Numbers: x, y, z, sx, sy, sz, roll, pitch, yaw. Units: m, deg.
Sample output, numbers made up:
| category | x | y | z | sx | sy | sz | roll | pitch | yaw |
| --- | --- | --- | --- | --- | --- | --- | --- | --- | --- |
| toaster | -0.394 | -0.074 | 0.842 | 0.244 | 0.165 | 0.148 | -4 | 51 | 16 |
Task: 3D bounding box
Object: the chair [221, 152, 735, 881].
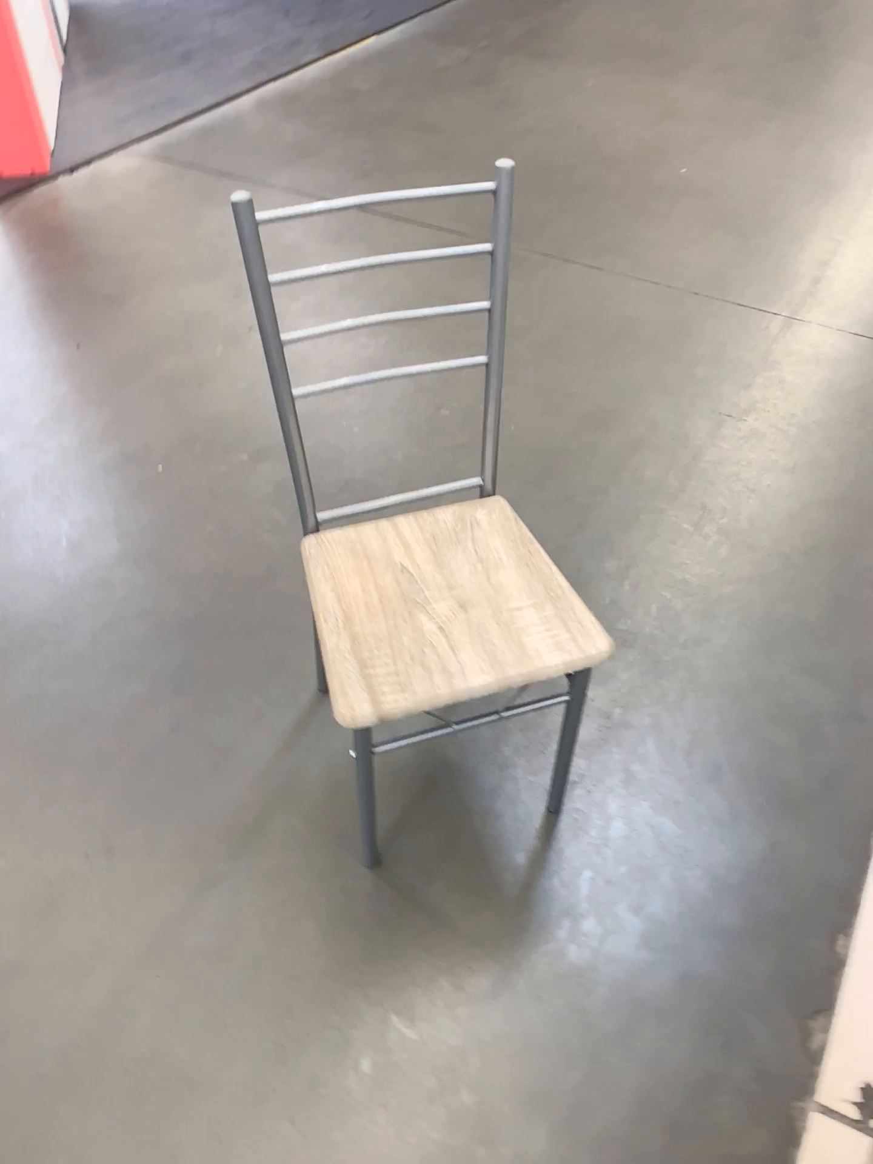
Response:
| category | x | y | z | sx | sy | sz | roll | pitch | yaw |
| --- | --- | --- | --- | --- | --- | --- | --- | --- | --- |
| chair | 0.007 | -0.052 | 1.225 | 0.410 | 0.836 | 0.472 | -12 | 46 | -12 |
